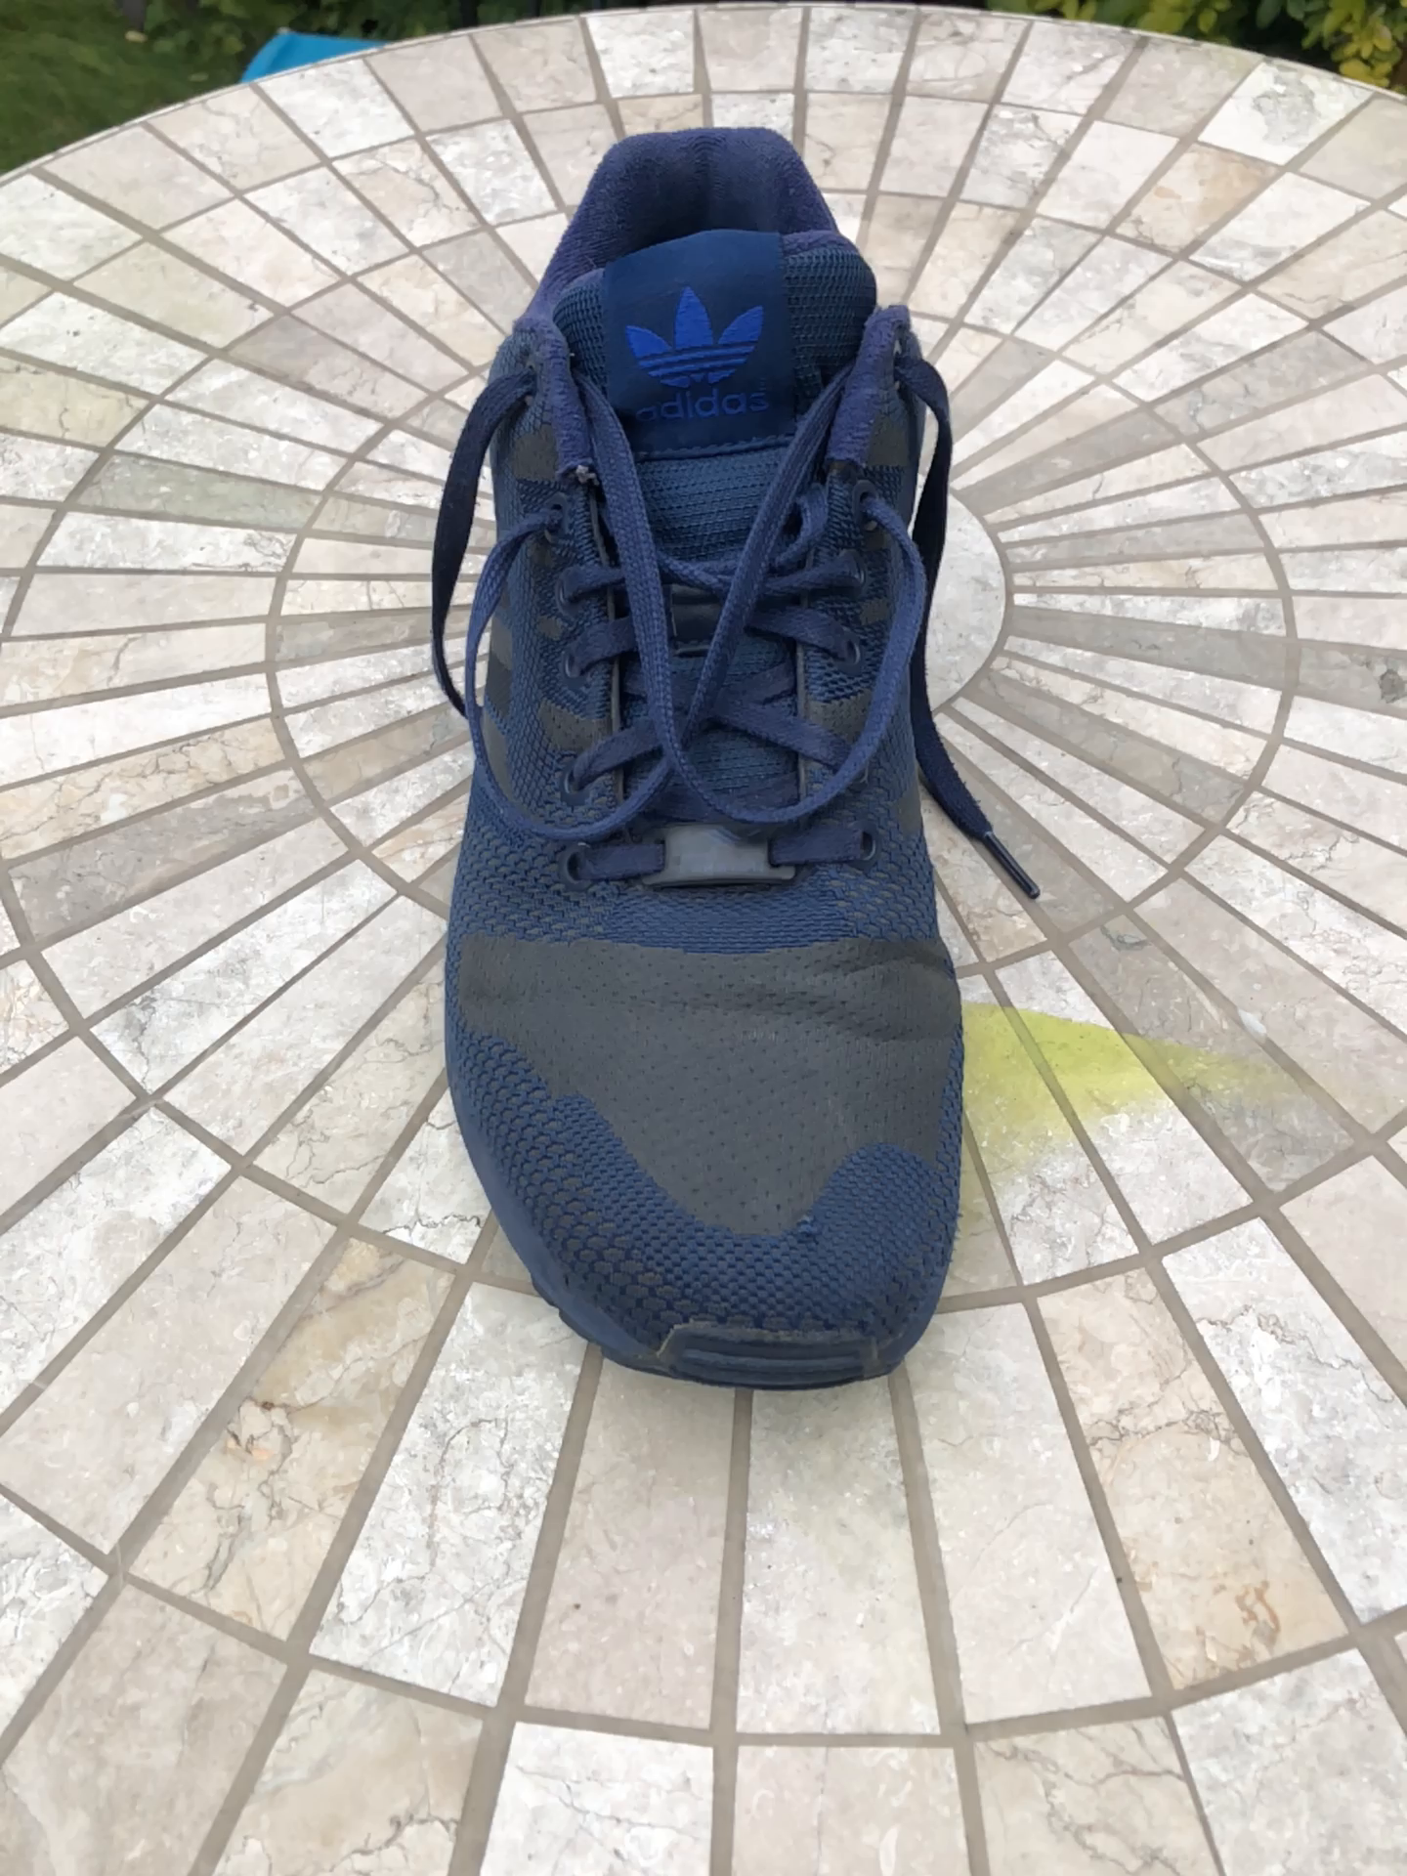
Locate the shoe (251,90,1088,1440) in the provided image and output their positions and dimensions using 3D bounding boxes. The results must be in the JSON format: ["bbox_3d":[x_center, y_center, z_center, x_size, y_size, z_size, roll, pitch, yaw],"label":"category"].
[{"bbox_3d":[-0.003,-0.052,0.330,0.110,0.109,0.281,-1,55,1],"label":"shoe"}]
